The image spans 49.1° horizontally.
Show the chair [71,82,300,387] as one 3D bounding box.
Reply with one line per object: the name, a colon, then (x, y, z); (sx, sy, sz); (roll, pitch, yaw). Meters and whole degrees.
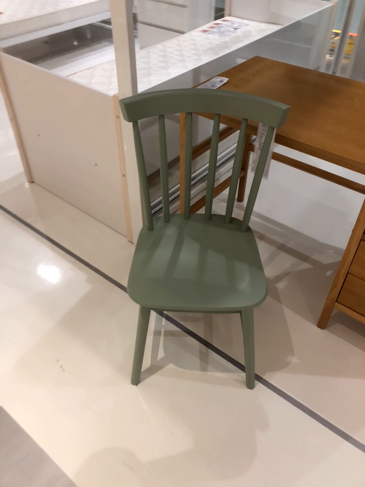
chair: (0.009, 0.012, 1.234); (0.450, 0.834, 0.464); (1, 42, 1)
